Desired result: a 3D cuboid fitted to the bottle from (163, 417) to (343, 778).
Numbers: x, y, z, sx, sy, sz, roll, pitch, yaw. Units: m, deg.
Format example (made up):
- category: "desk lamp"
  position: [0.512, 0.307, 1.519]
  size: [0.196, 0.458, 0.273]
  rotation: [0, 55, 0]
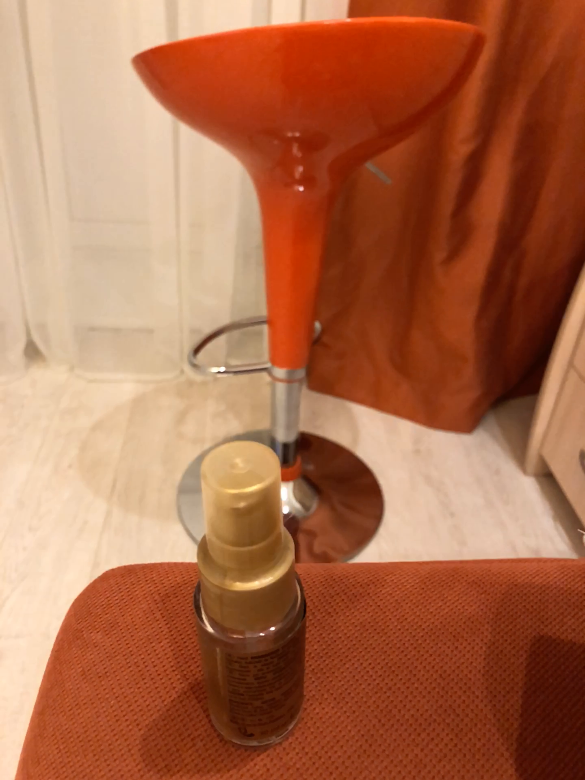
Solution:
- category: "bottle"
  position: [-0.013, 0.066, 0.198]
  size: [0.033, 0.106, 0.034]
  rotation: [3, 32, -2]
